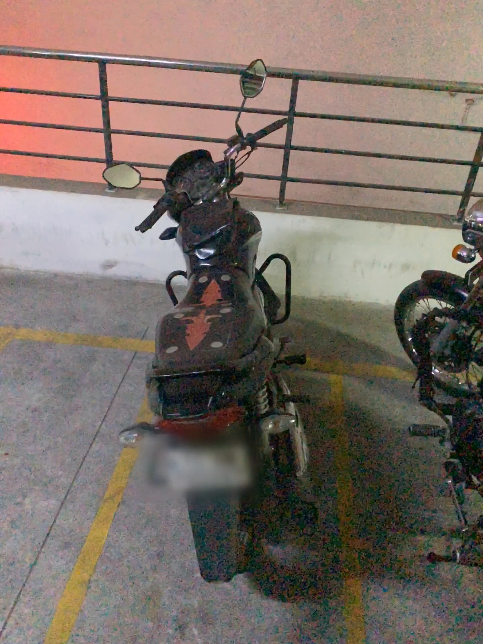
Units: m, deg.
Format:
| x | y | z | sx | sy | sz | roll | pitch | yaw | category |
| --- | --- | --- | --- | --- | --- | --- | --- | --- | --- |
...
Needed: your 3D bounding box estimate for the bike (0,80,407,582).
| x | y | z | sx | sy | sz | roll | pitch | yaw | category |
| --- | --- | --- | --- | --- | --- | --- | --- | --- | --- |
| -0.231 | -0.168 | 1.839 | 0.755 | 1.067 | 1.685 | 0 | 33 | -8 | bike |
